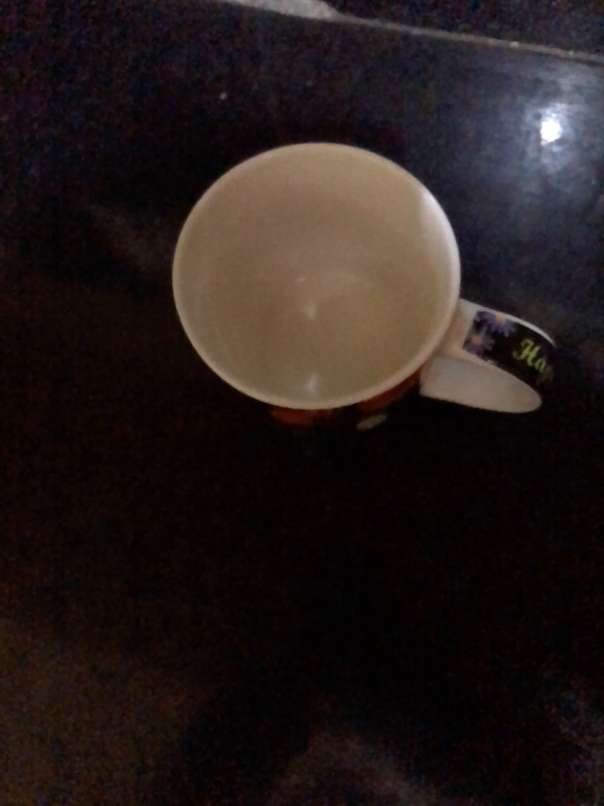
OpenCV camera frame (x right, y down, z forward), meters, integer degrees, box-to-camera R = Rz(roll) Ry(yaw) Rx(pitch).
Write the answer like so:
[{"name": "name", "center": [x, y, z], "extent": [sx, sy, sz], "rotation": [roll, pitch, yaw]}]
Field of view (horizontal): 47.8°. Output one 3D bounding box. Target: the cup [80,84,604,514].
[{"name": "cup", "center": [0.015, -0.028, 0.240], "extent": [0.130, 0.090, 0.090], "rotation": [18, 80, 9]}]
